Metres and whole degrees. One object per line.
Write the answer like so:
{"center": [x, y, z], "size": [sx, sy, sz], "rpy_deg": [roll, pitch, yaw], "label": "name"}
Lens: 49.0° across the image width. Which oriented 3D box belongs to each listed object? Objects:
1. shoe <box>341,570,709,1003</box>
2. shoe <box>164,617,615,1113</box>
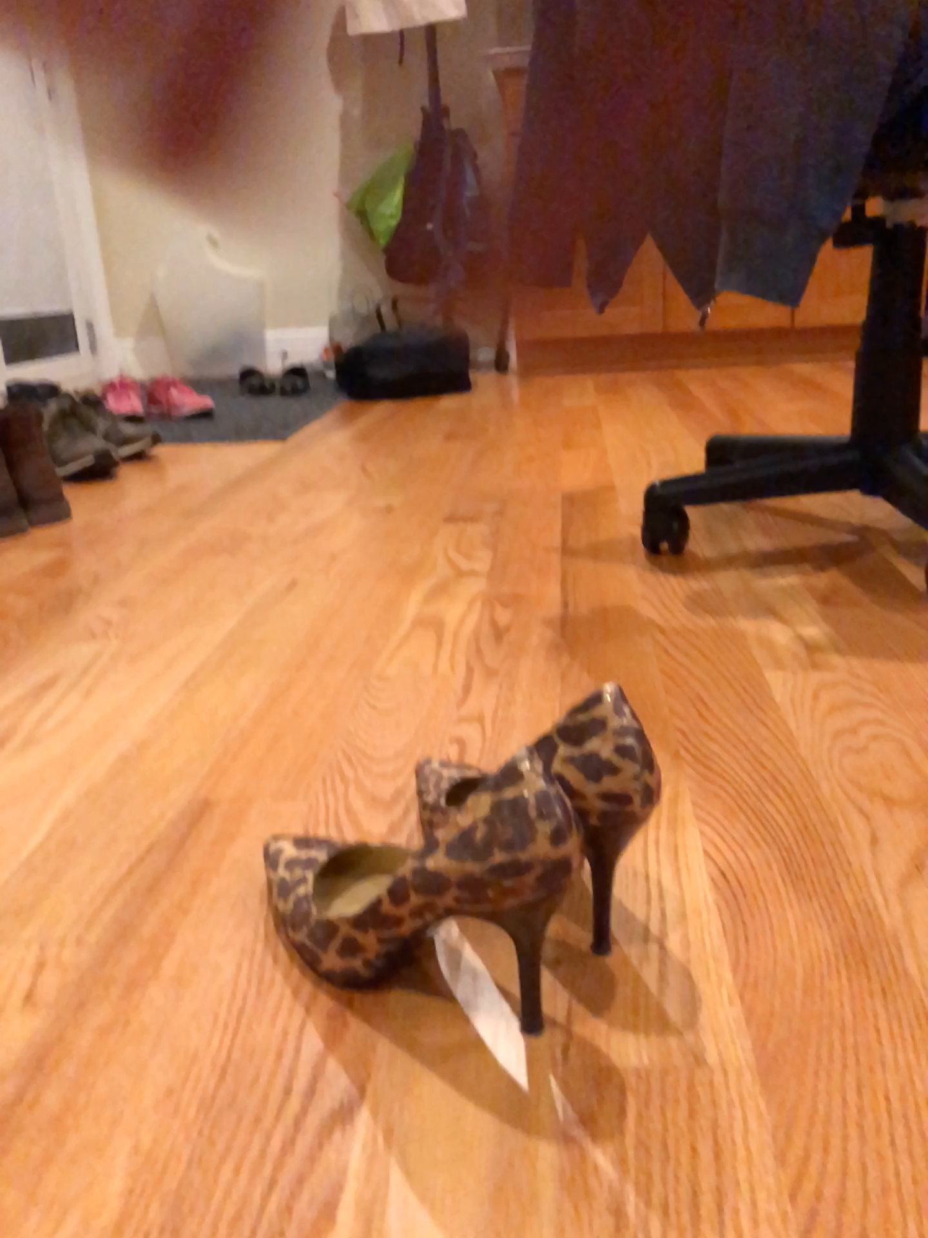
{"center": [0.023, 0.073, 0.556], "size": [0.084, 0.144, 0.219], "rpy_deg": [-13, 21, -29], "label": "shoe"}
{"center": [-0.042, 0.099, 0.489], "size": [0.084, 0.144, 0.219], "rpy_deg": [-20, 24, -41], "label": "shoe"}
